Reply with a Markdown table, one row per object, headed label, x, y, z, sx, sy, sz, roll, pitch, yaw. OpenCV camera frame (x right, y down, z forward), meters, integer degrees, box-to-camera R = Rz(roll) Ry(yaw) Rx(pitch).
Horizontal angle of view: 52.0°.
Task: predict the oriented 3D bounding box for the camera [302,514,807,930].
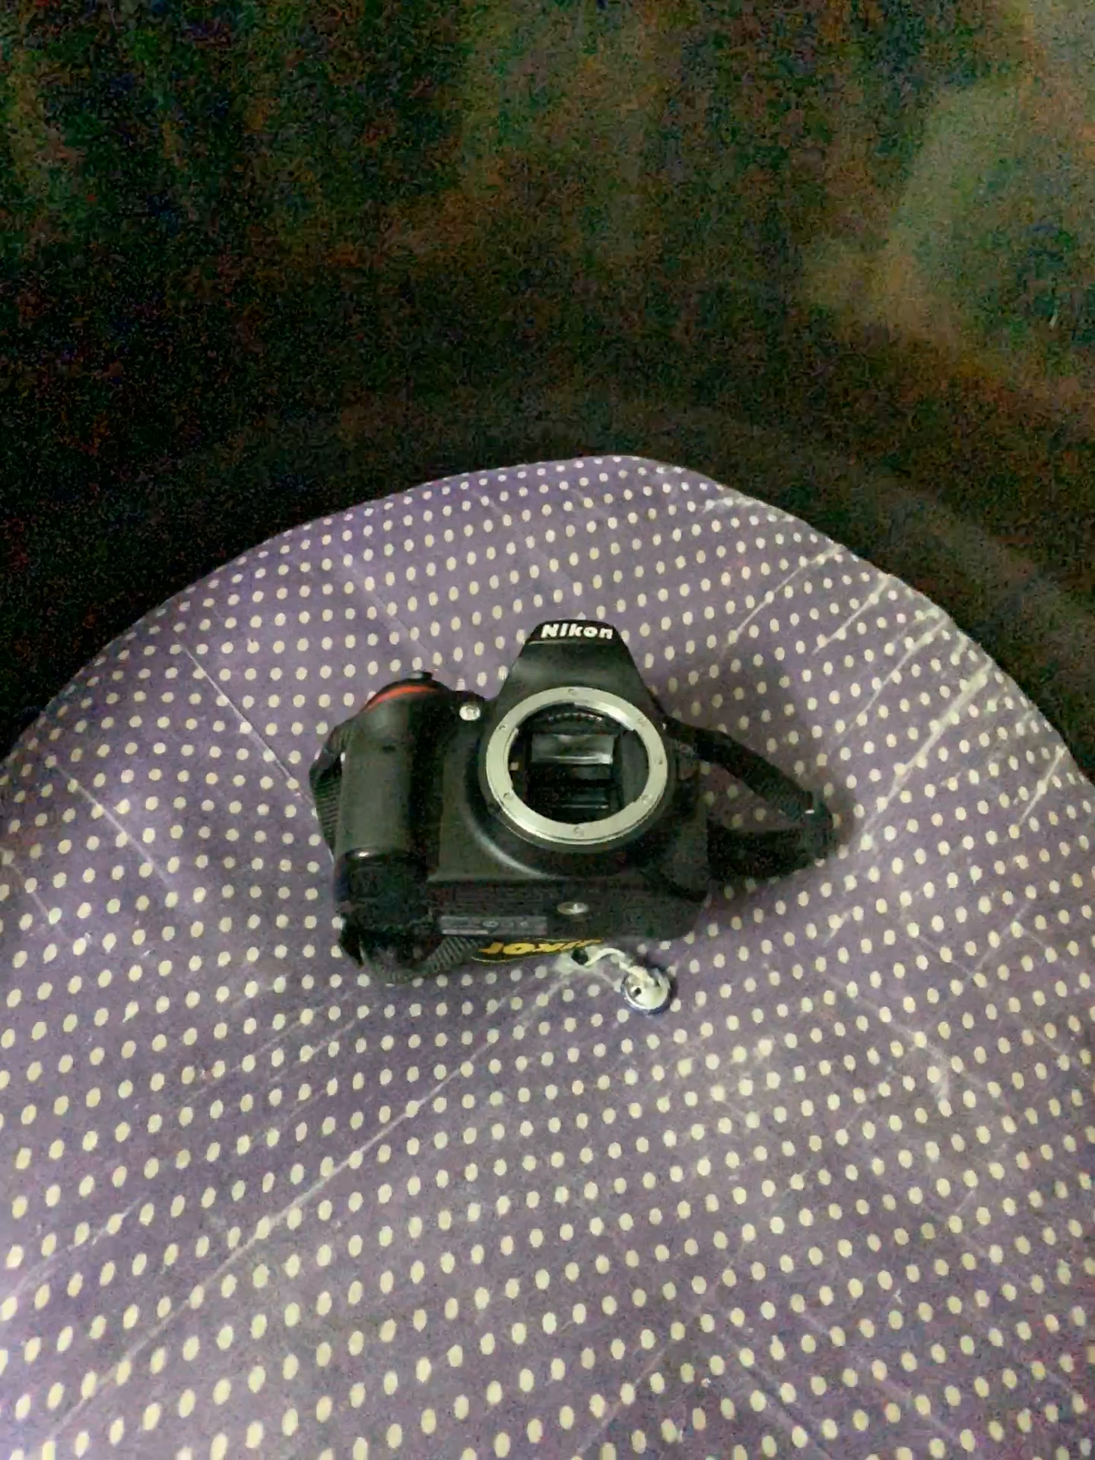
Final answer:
| label | x | y | z | sx | sy | sz | roll | pitch | yaw |
| --- | --- | --- | --- | --- | --- | --- | --- | --- | --- |
| camera | -0.002 | -0.001 | 0.373 | 0.140 | 0.080 | 0.110 | 0 | 59 | -5 |
